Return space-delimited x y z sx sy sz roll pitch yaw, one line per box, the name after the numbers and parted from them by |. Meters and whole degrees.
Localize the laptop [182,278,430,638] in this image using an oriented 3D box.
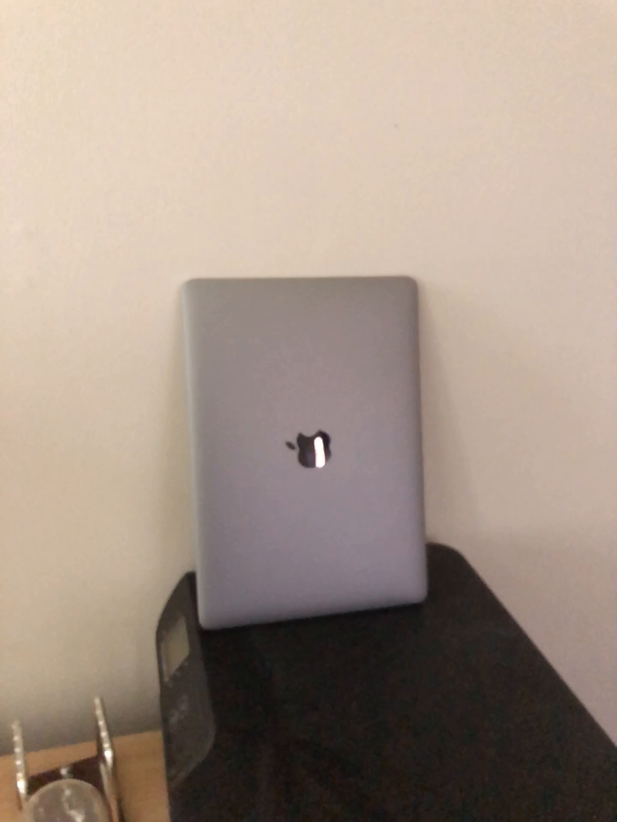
0.003 0.034 0.562 0.196 0.275 0.002 -3 2 -14 | laptop
